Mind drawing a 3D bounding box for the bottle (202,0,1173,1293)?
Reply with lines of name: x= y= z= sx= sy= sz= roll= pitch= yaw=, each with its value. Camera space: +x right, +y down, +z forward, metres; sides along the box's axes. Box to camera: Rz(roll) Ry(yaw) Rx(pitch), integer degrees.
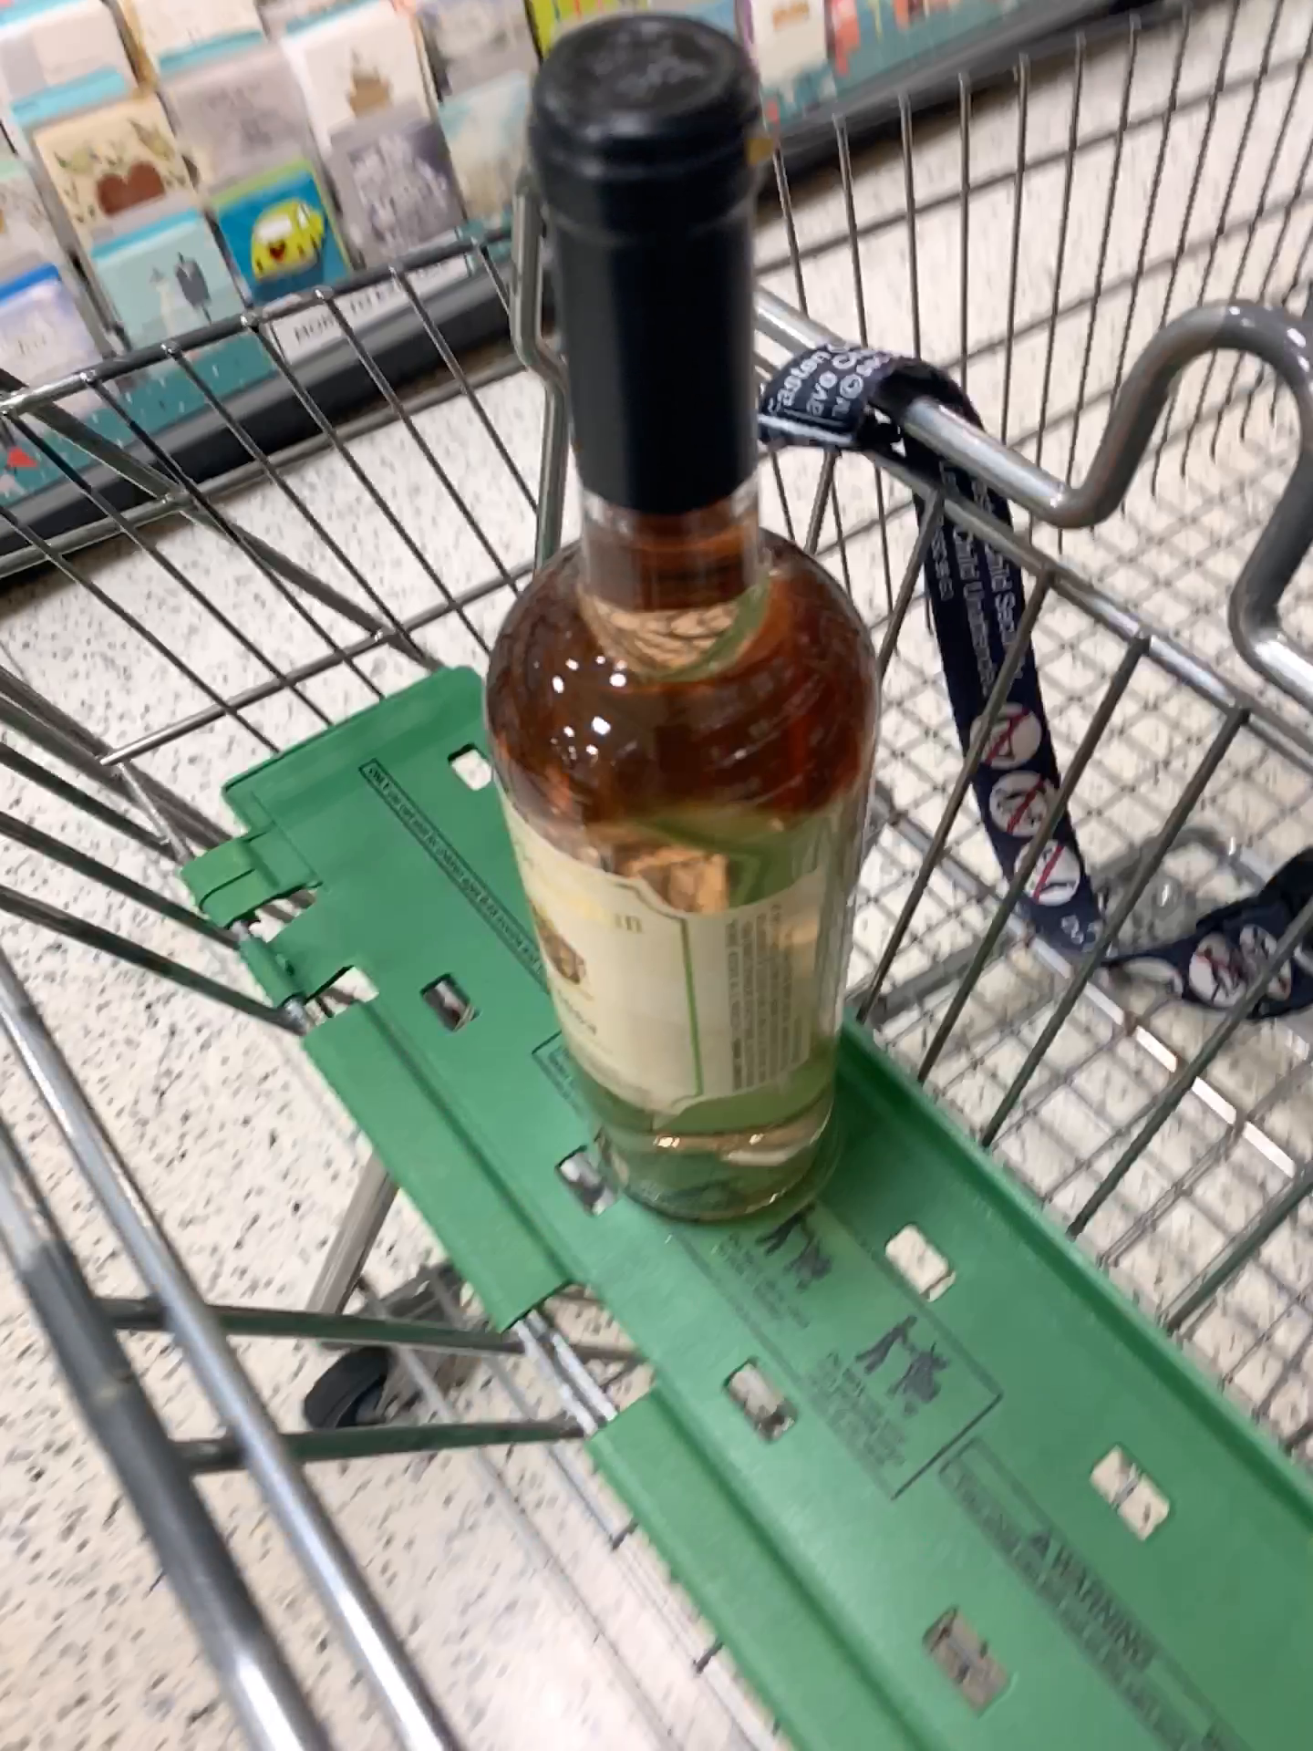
bottle: x=0.010 y=-0.017 z=0.295 sx=0.087 sy=0.316 sz=0.084 roll=-2 pitch=55 yaw=3
